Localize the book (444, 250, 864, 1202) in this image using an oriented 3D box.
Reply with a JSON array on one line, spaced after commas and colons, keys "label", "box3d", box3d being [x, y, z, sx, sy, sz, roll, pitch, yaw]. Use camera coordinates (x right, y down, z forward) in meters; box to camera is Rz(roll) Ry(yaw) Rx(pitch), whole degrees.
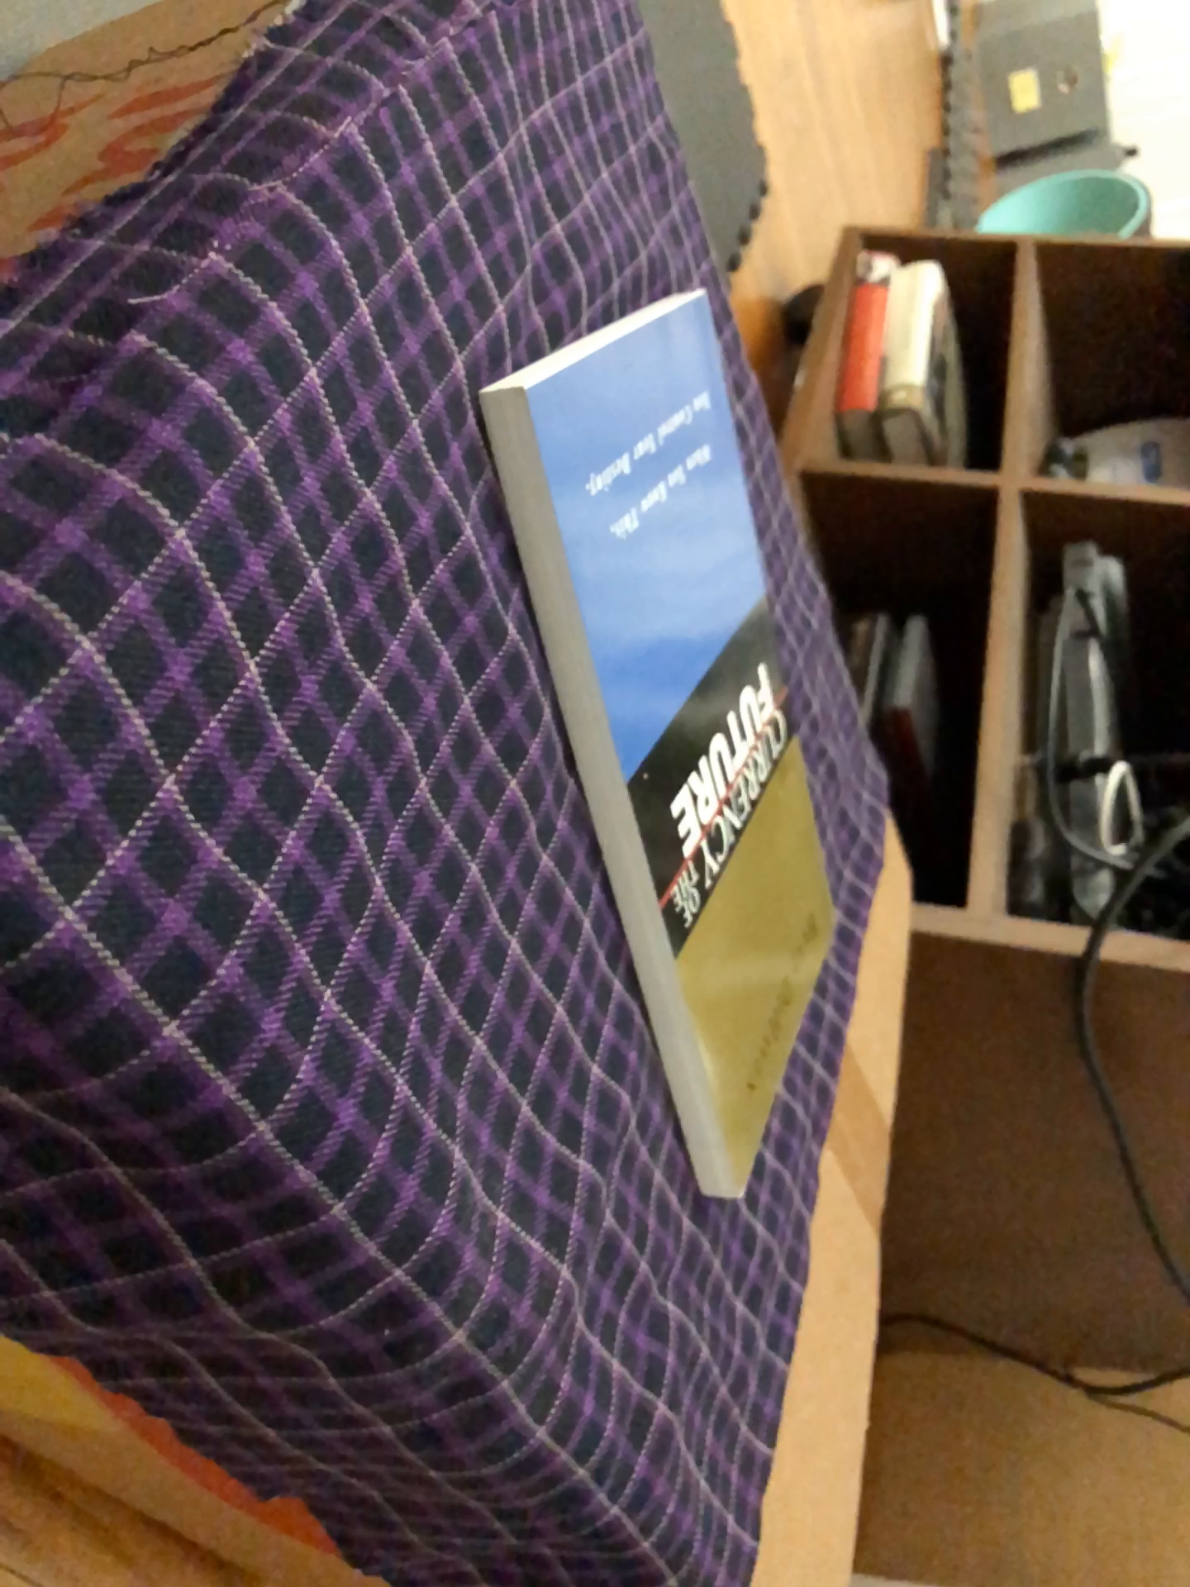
[{"label": "book", "box3d": [0.032, -0.025, 0.369, 0.151, 0.020, 0.220, -54, 133, -56]}]
